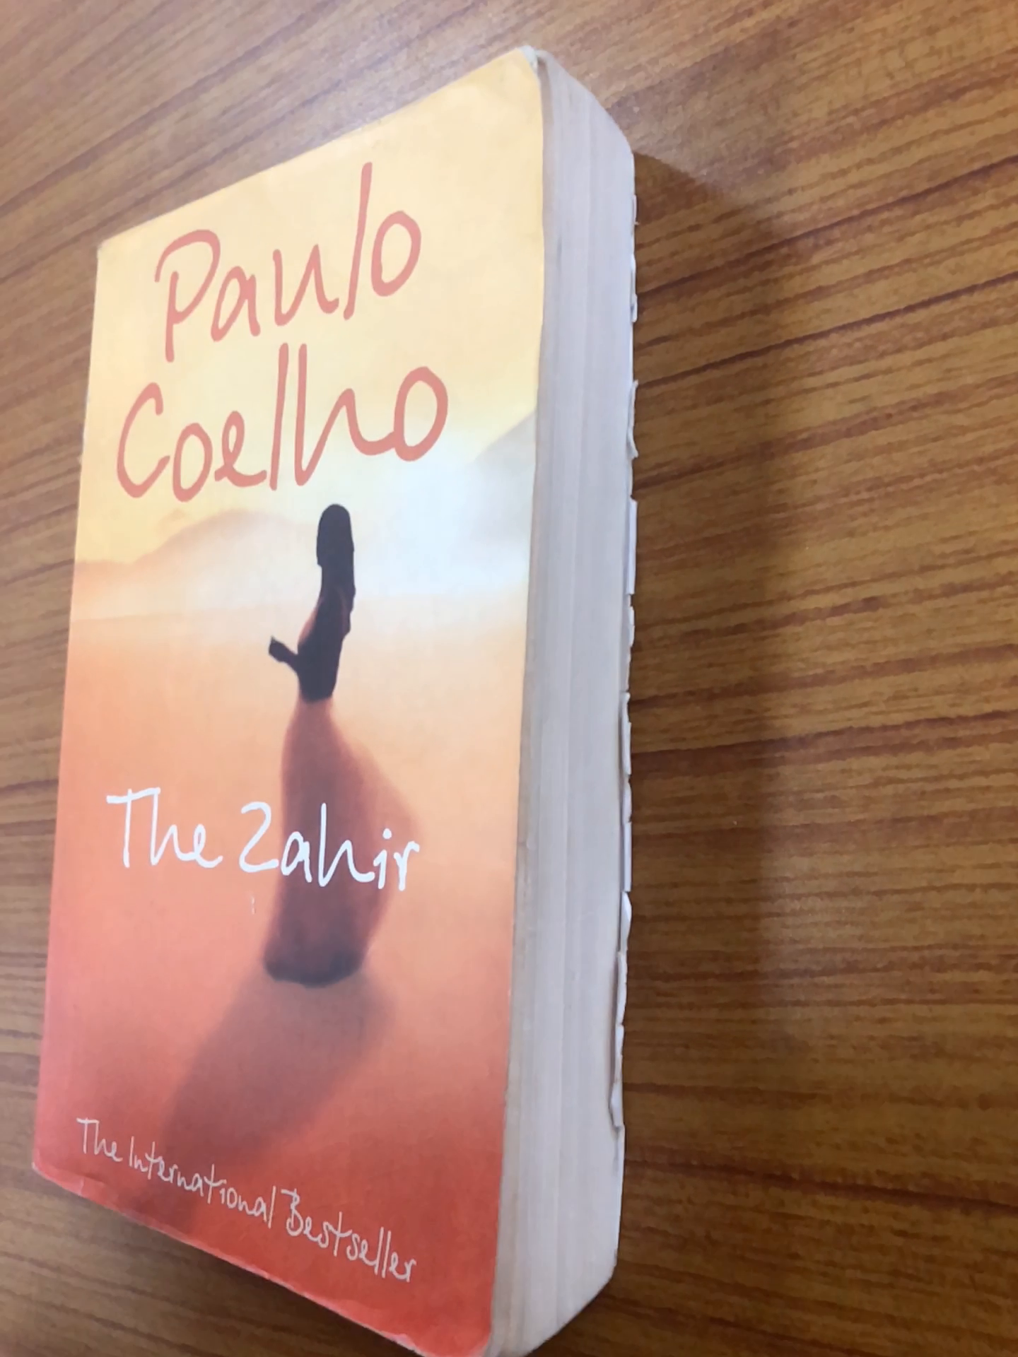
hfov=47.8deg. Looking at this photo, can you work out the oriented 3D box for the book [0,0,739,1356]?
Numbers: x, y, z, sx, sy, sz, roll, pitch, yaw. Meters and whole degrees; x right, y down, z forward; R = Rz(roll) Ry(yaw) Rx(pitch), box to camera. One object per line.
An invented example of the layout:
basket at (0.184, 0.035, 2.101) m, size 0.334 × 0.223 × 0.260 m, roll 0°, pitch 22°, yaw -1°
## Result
book at (-0.028, 0.005, 0.191) m, size 0.121 × 0.040 × 0.180 m, roll -2°, pitch 82°, yaw 36°
